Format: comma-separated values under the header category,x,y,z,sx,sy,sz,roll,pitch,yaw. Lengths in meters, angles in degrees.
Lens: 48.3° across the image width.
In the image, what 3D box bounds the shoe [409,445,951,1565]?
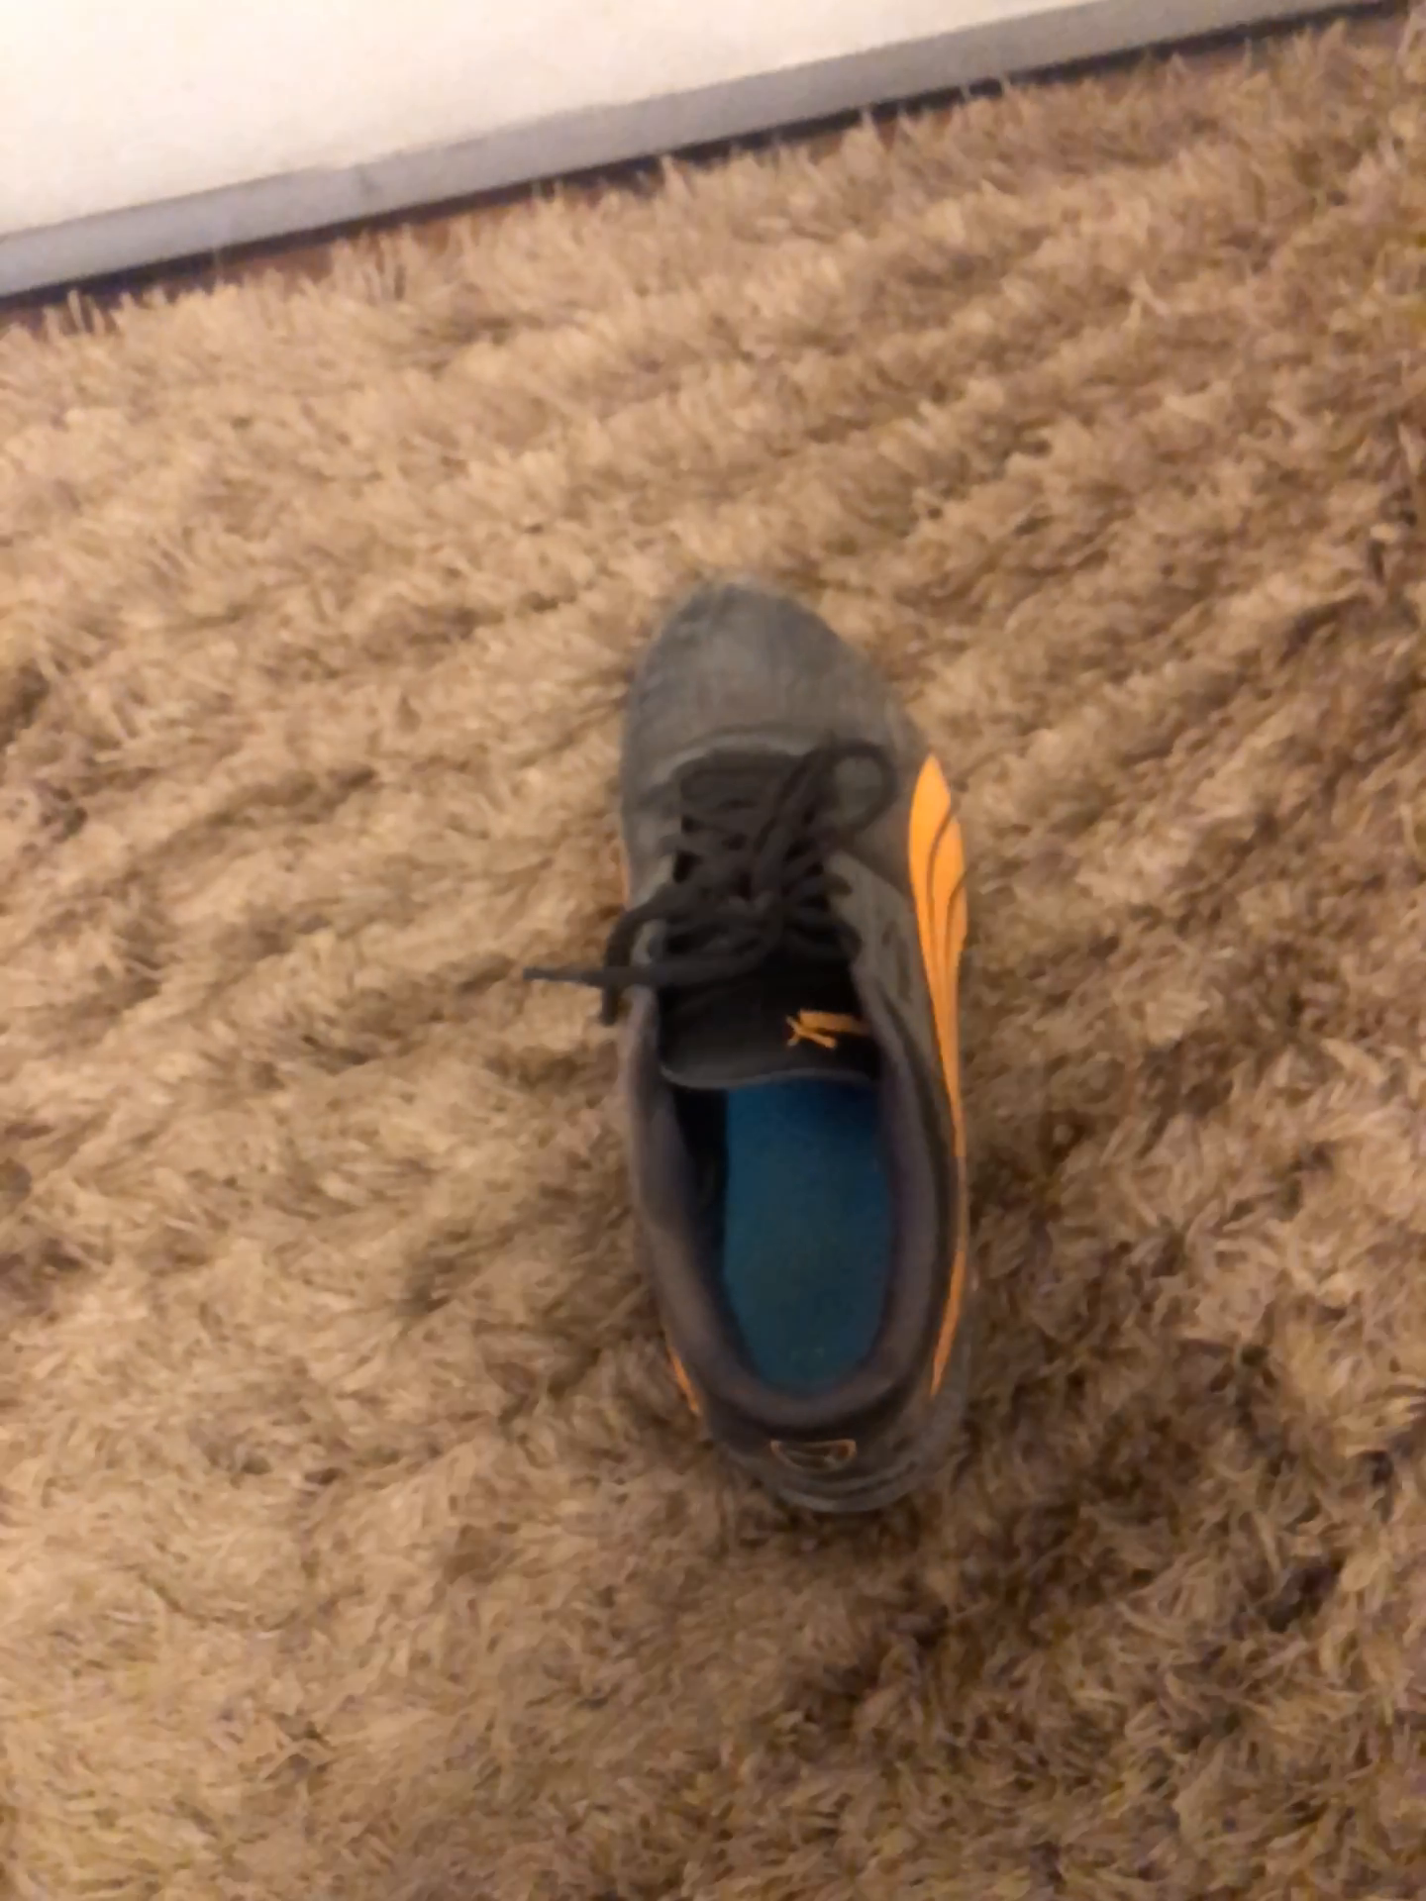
category,x,y,z,sx,sy,sz,roll,pitch,yaw
shoe,-0.010,0.017,0.485,0.122,0.110,0.300,-7,74,5
